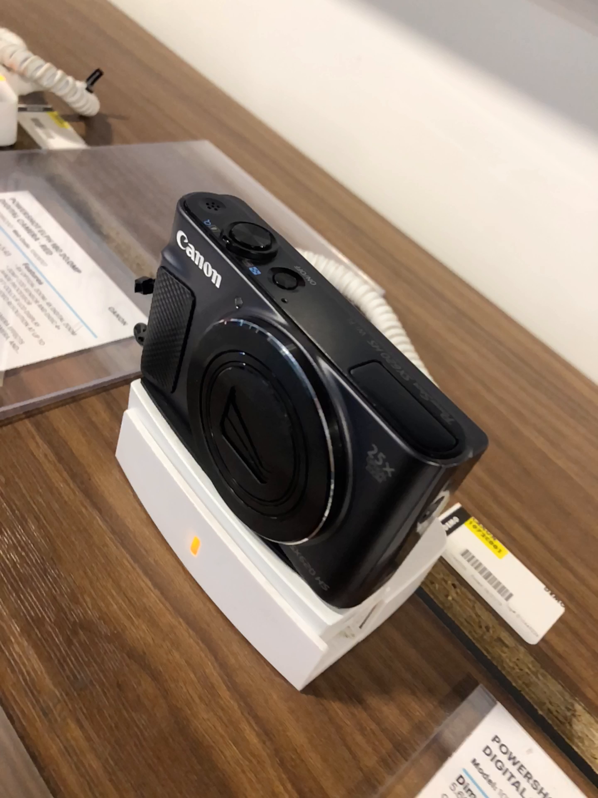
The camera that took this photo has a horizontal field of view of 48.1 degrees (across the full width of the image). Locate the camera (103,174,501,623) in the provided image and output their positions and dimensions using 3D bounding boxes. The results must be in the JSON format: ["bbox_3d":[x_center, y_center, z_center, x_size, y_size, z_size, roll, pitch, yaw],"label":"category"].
[{"bbox_3d":[-0.008,-0.004,0.173,0.030,0.060,0.100,-19,55,-41],"label":"camera"}]
